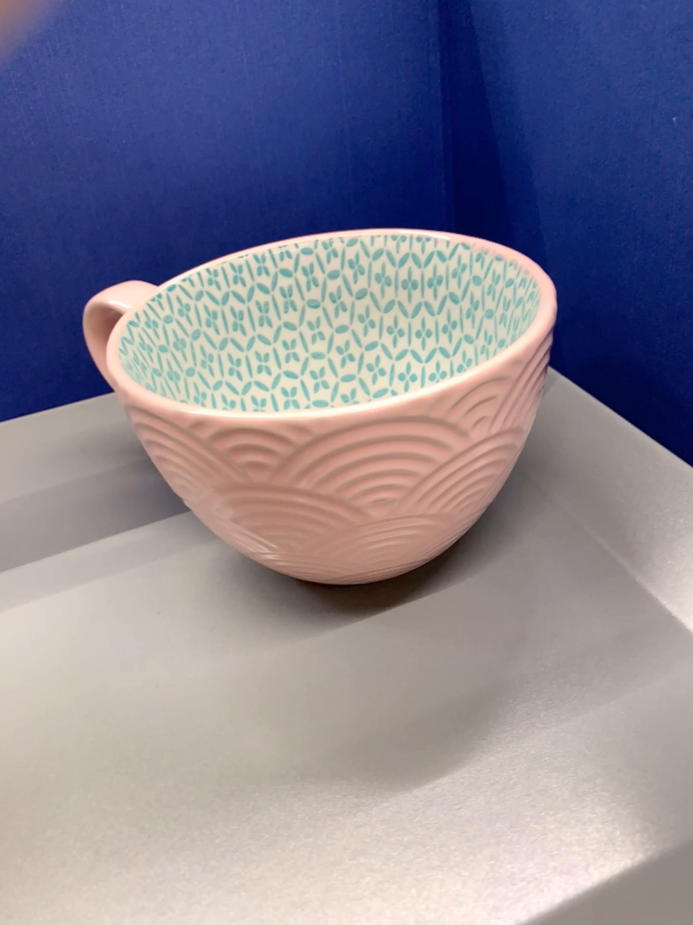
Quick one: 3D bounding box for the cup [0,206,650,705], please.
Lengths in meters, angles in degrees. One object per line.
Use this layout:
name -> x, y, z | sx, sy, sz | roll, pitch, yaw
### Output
cup -> -0.006, -0.019, 0.216 | 0.151, 0.064, 0.105 | 17, 48, 33
